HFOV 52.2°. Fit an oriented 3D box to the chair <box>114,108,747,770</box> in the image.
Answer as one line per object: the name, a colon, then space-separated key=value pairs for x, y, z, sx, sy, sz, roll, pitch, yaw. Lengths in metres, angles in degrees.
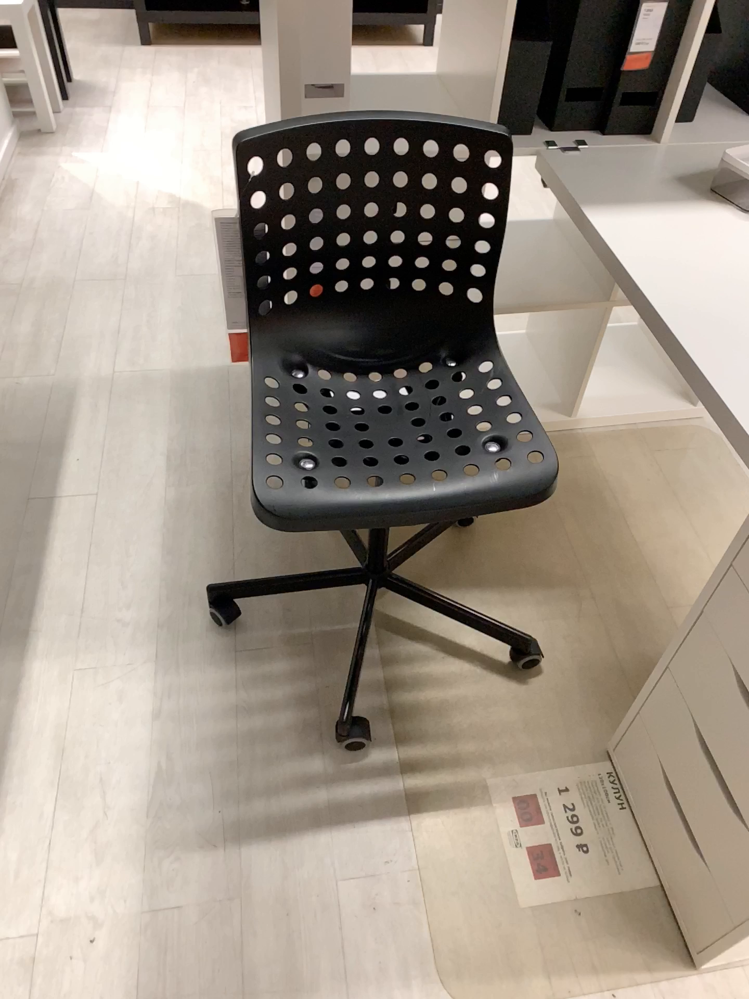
chair: x=0.005 y=-0.099 z=1.375 sx=0.680 sy=0.865 sz=0.754 roll=-4 pitch=48 yaw=-7
